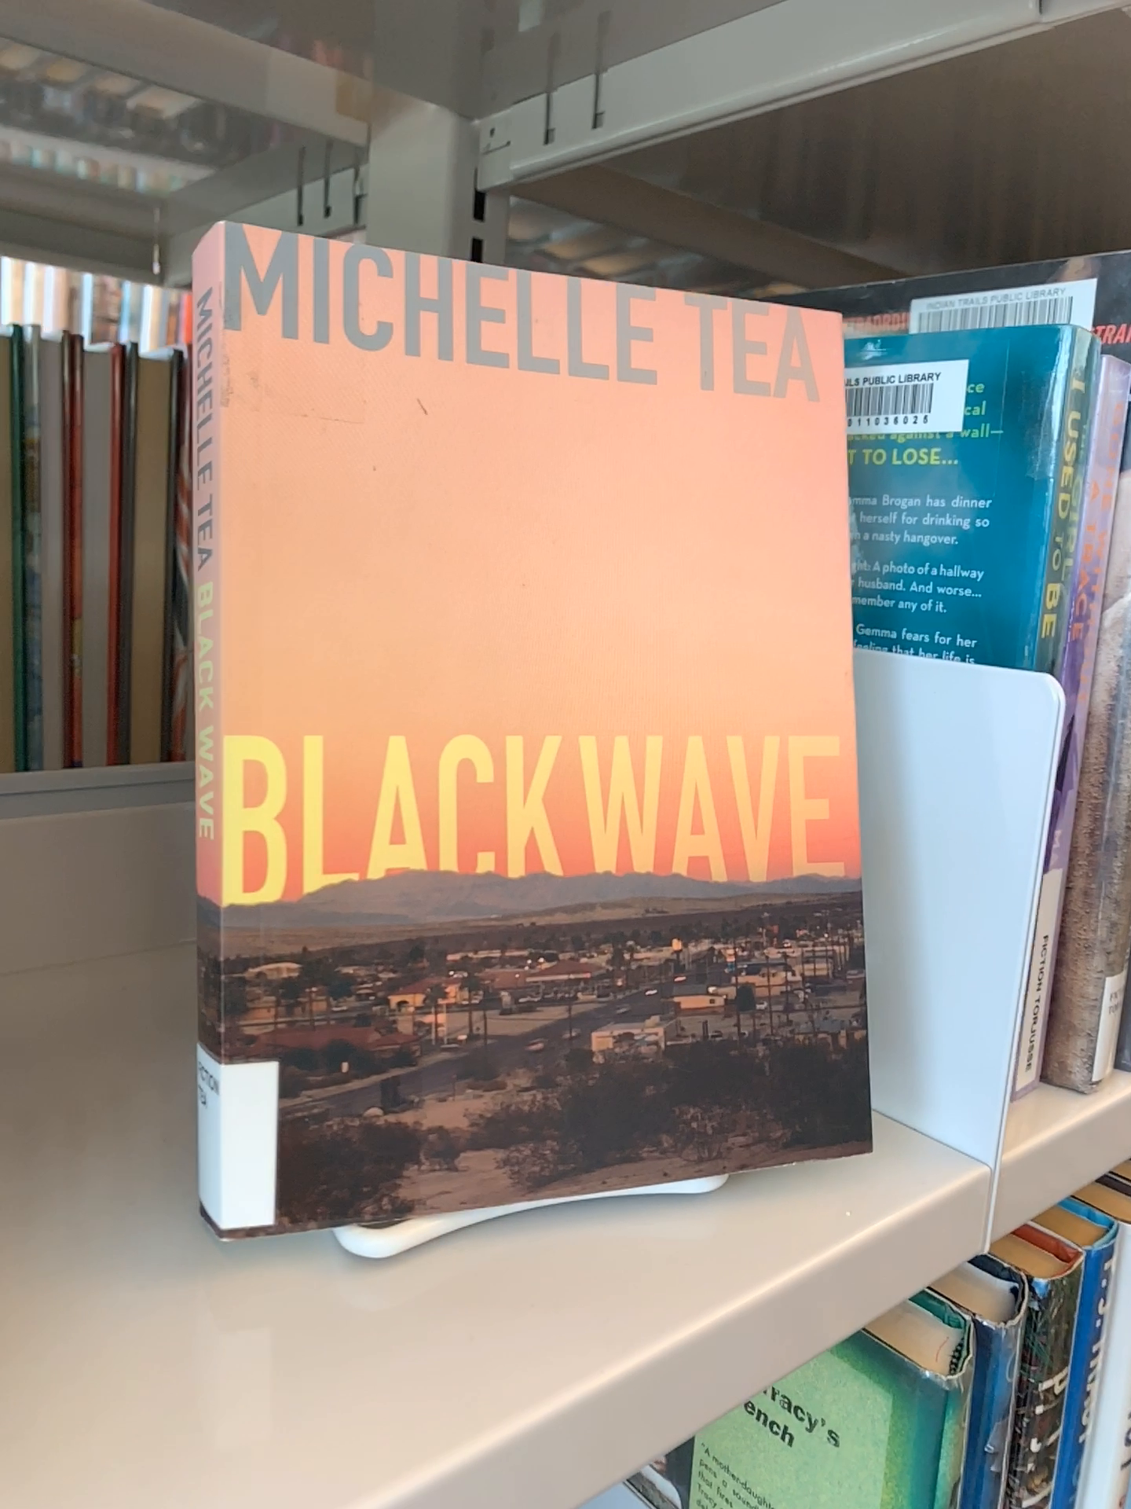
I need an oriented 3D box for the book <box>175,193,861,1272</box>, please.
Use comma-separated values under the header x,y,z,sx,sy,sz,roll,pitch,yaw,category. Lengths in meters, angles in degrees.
x,y,z,sx,sy,sz,roll,pitch,yaw,category
-0.008,-0.005,0.260,0.147,0.201,0.036,0,-1,-20,book
